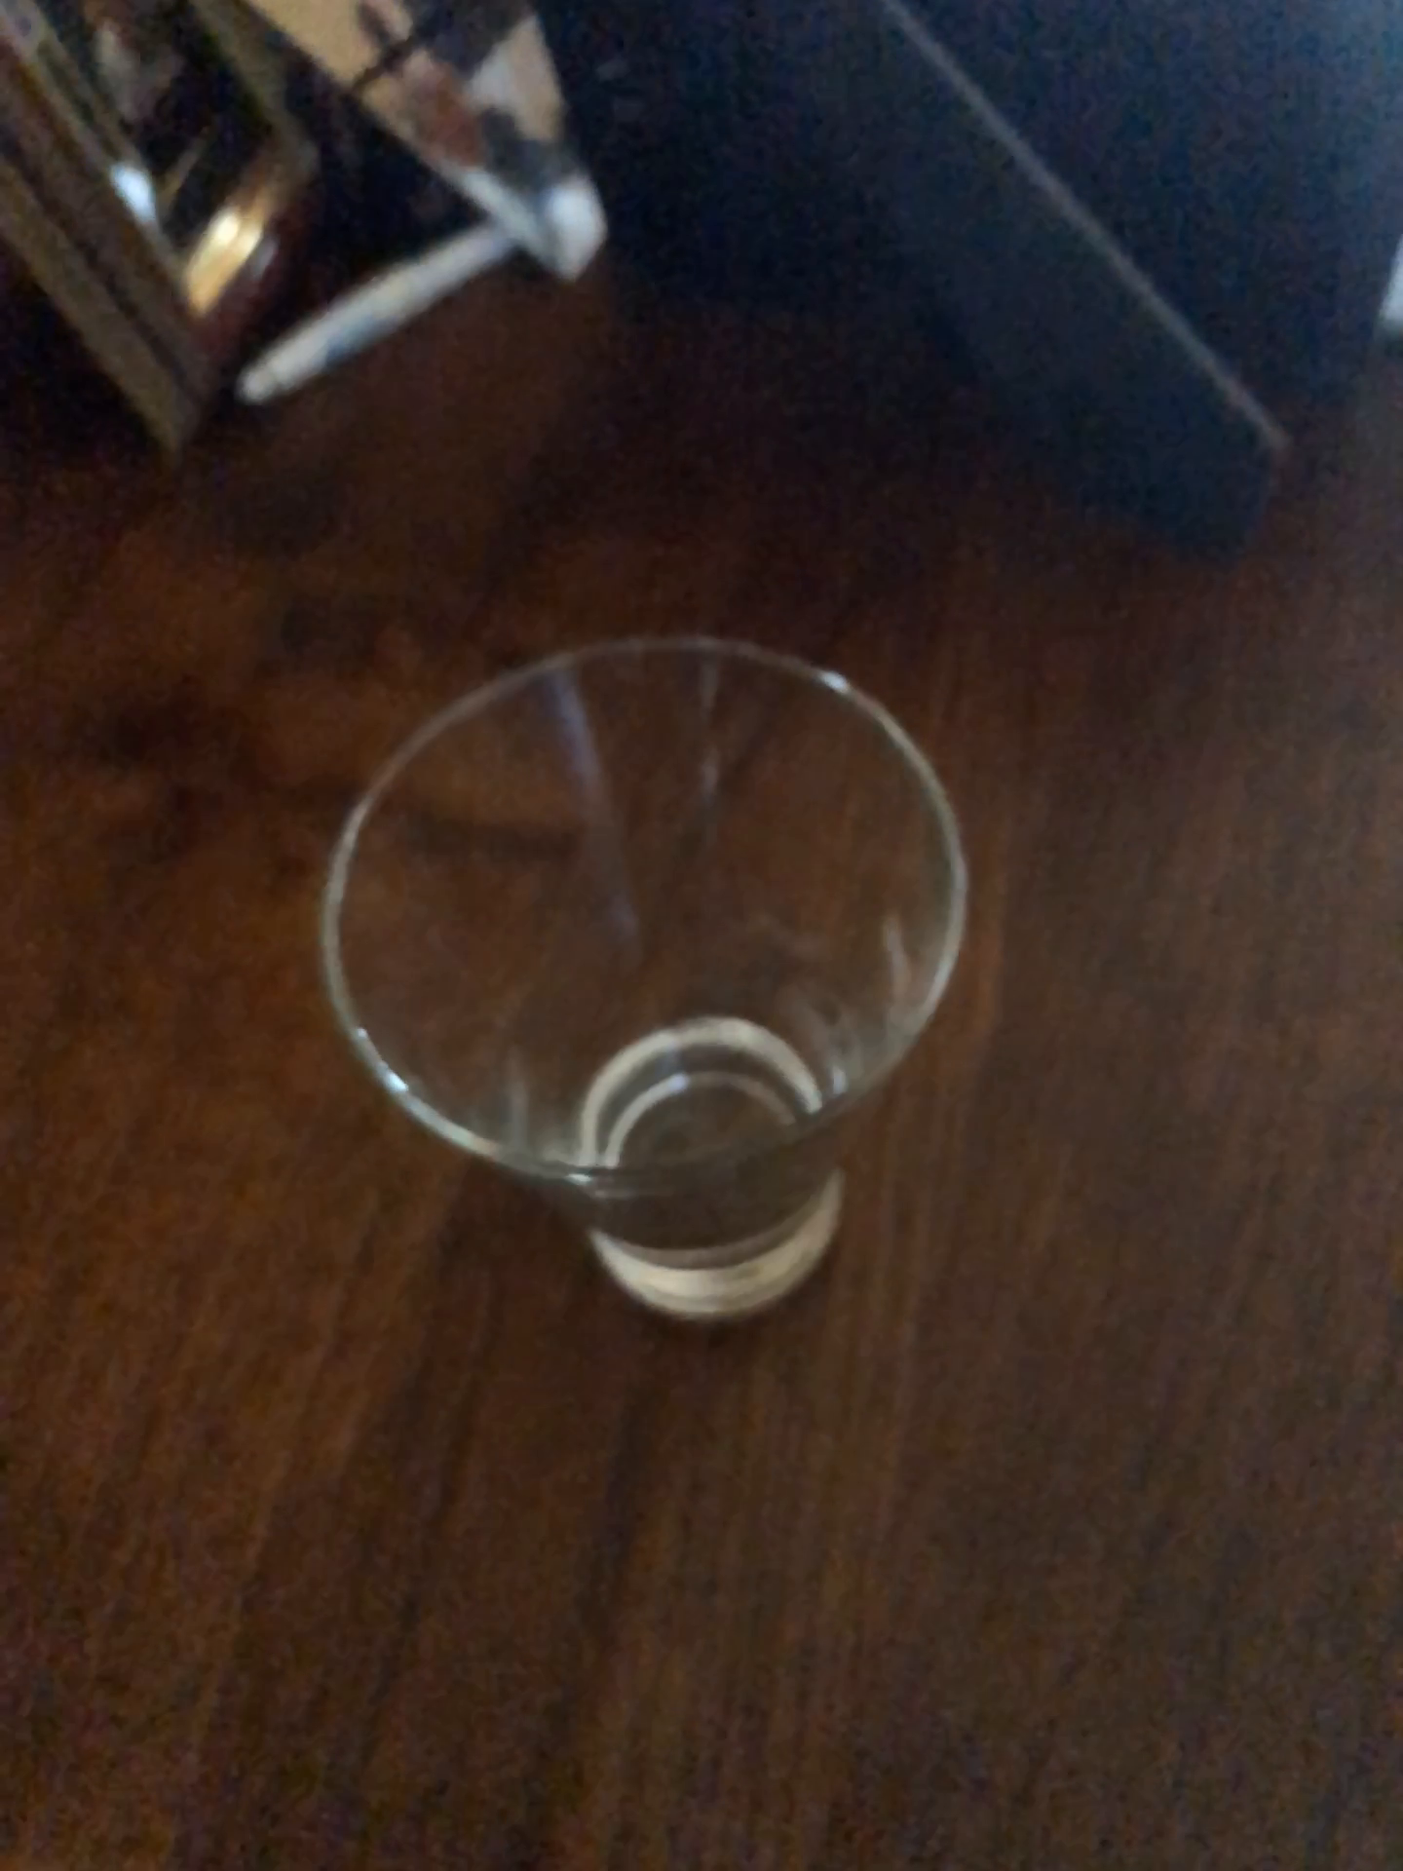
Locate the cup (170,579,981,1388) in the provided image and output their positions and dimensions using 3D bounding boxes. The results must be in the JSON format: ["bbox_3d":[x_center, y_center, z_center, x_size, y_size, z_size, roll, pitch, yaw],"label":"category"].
[{"bbox_3d":[-0.008,0.011,0.259,0.100,0.100,0.090,2,58,7],"label":"cup"}]
